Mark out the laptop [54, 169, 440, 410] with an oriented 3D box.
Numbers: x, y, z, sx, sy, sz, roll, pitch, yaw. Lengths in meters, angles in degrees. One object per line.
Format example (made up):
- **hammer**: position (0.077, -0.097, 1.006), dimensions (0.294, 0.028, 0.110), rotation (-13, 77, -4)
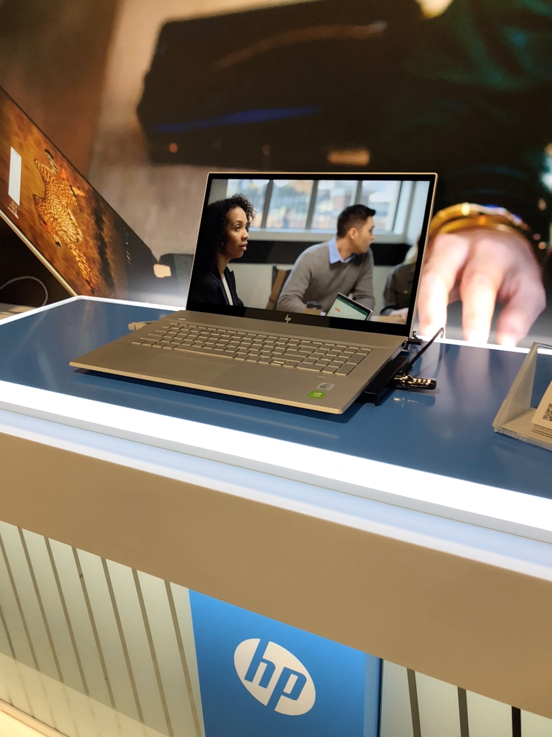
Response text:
- **laptop**: position (-0.018, -0.154, 0.877), dimensions (0.401, 0.217, 0.384), rotation (9, 25, 27)
